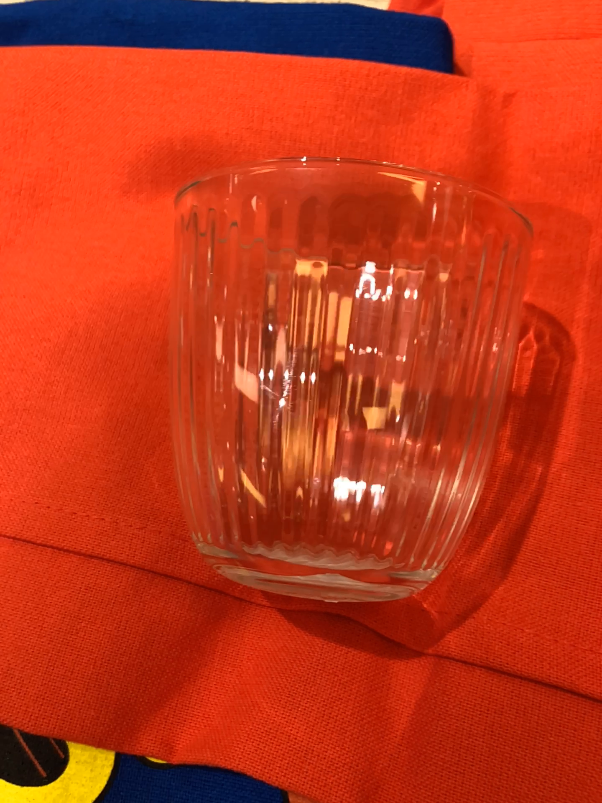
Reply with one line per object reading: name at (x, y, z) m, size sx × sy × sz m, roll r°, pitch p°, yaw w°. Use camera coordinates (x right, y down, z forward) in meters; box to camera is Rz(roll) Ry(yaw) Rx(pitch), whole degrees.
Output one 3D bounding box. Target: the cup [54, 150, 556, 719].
cup at (0.004, 0.002, 0.148) m, size 0.080 × 0.060 × 0.090 m, roll 6°, pitch 90°, yaw 14°
